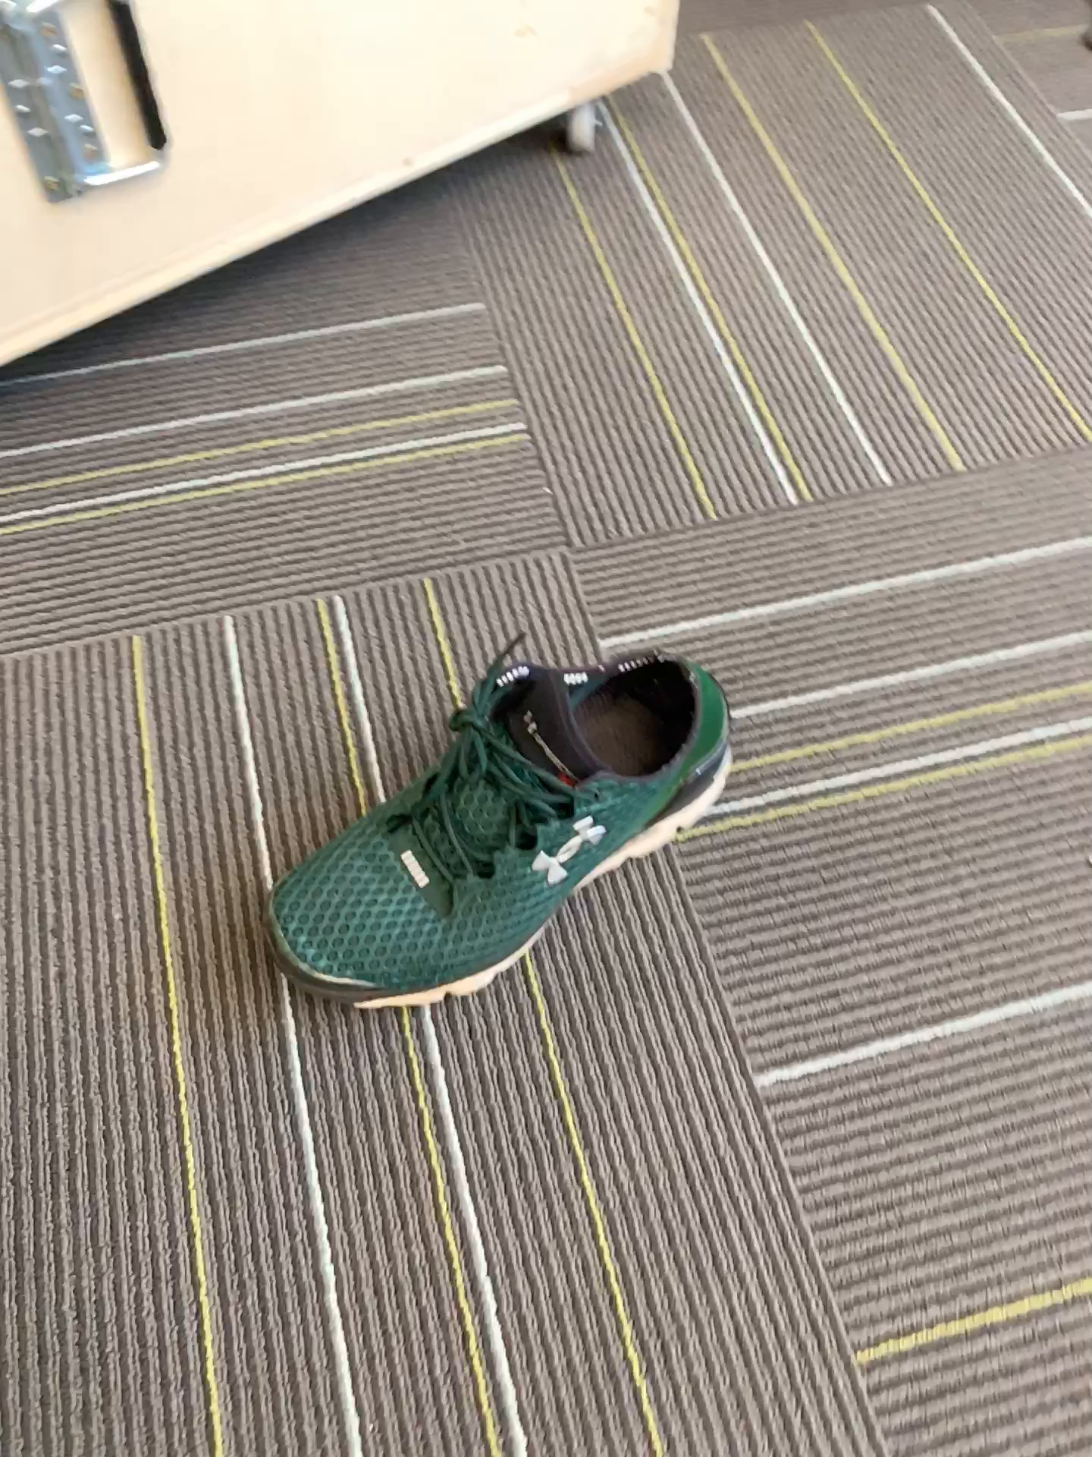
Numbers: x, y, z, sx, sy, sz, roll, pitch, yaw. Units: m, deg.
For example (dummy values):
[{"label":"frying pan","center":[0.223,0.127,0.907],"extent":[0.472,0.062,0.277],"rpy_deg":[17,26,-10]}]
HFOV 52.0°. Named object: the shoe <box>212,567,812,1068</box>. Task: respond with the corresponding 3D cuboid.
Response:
[{"label":"shoe","center":[-0.015,0.048,0.646],"extent":[0.300,0.120,0.120],"rpy_deg":[-29,65,-17]}]
